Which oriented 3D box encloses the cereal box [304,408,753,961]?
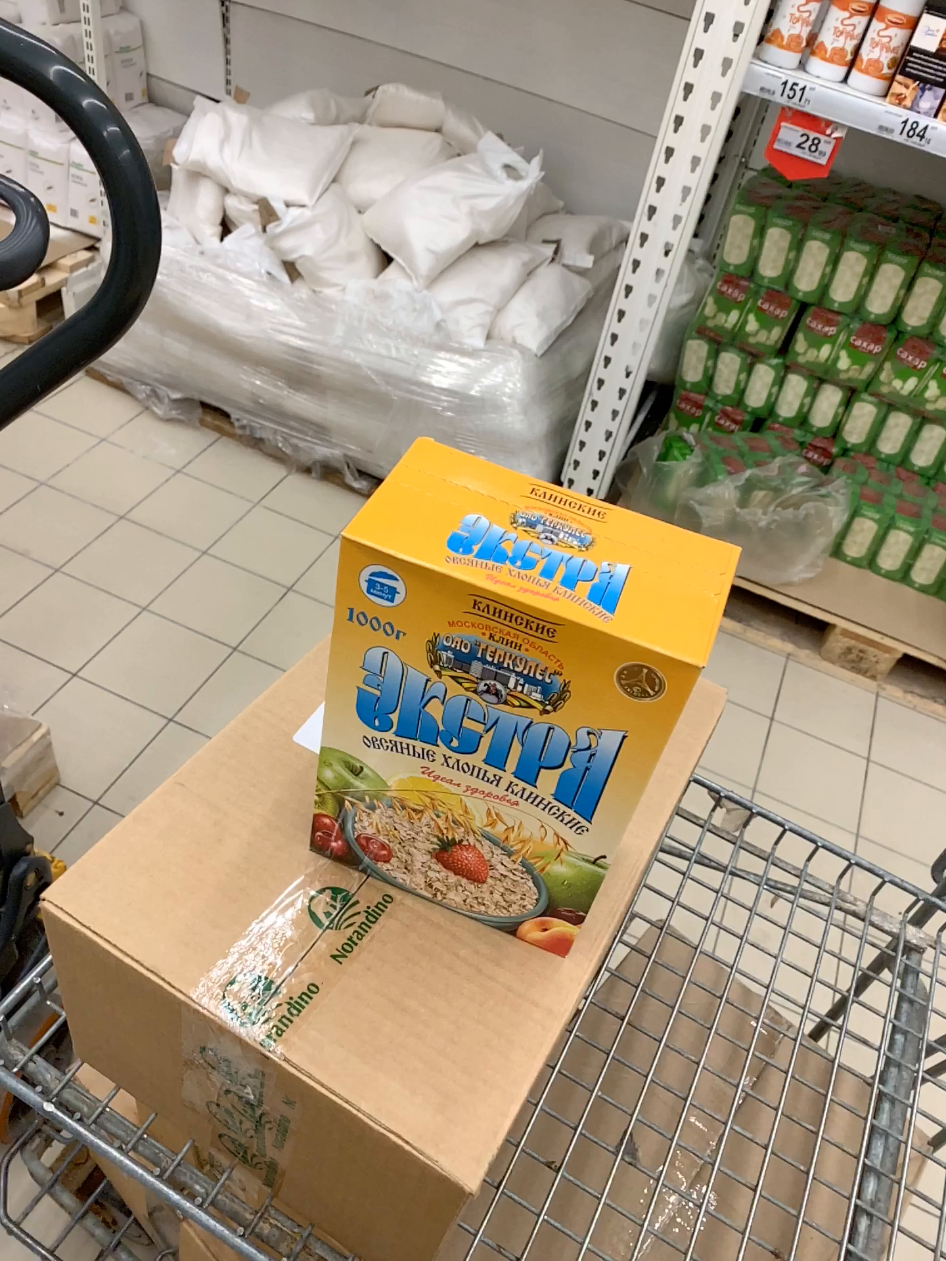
[{"bbox_3d":[0.016,0.038,0.497,0.160,0.239,0.101,20,43,7],"label":"cereal box"}]
